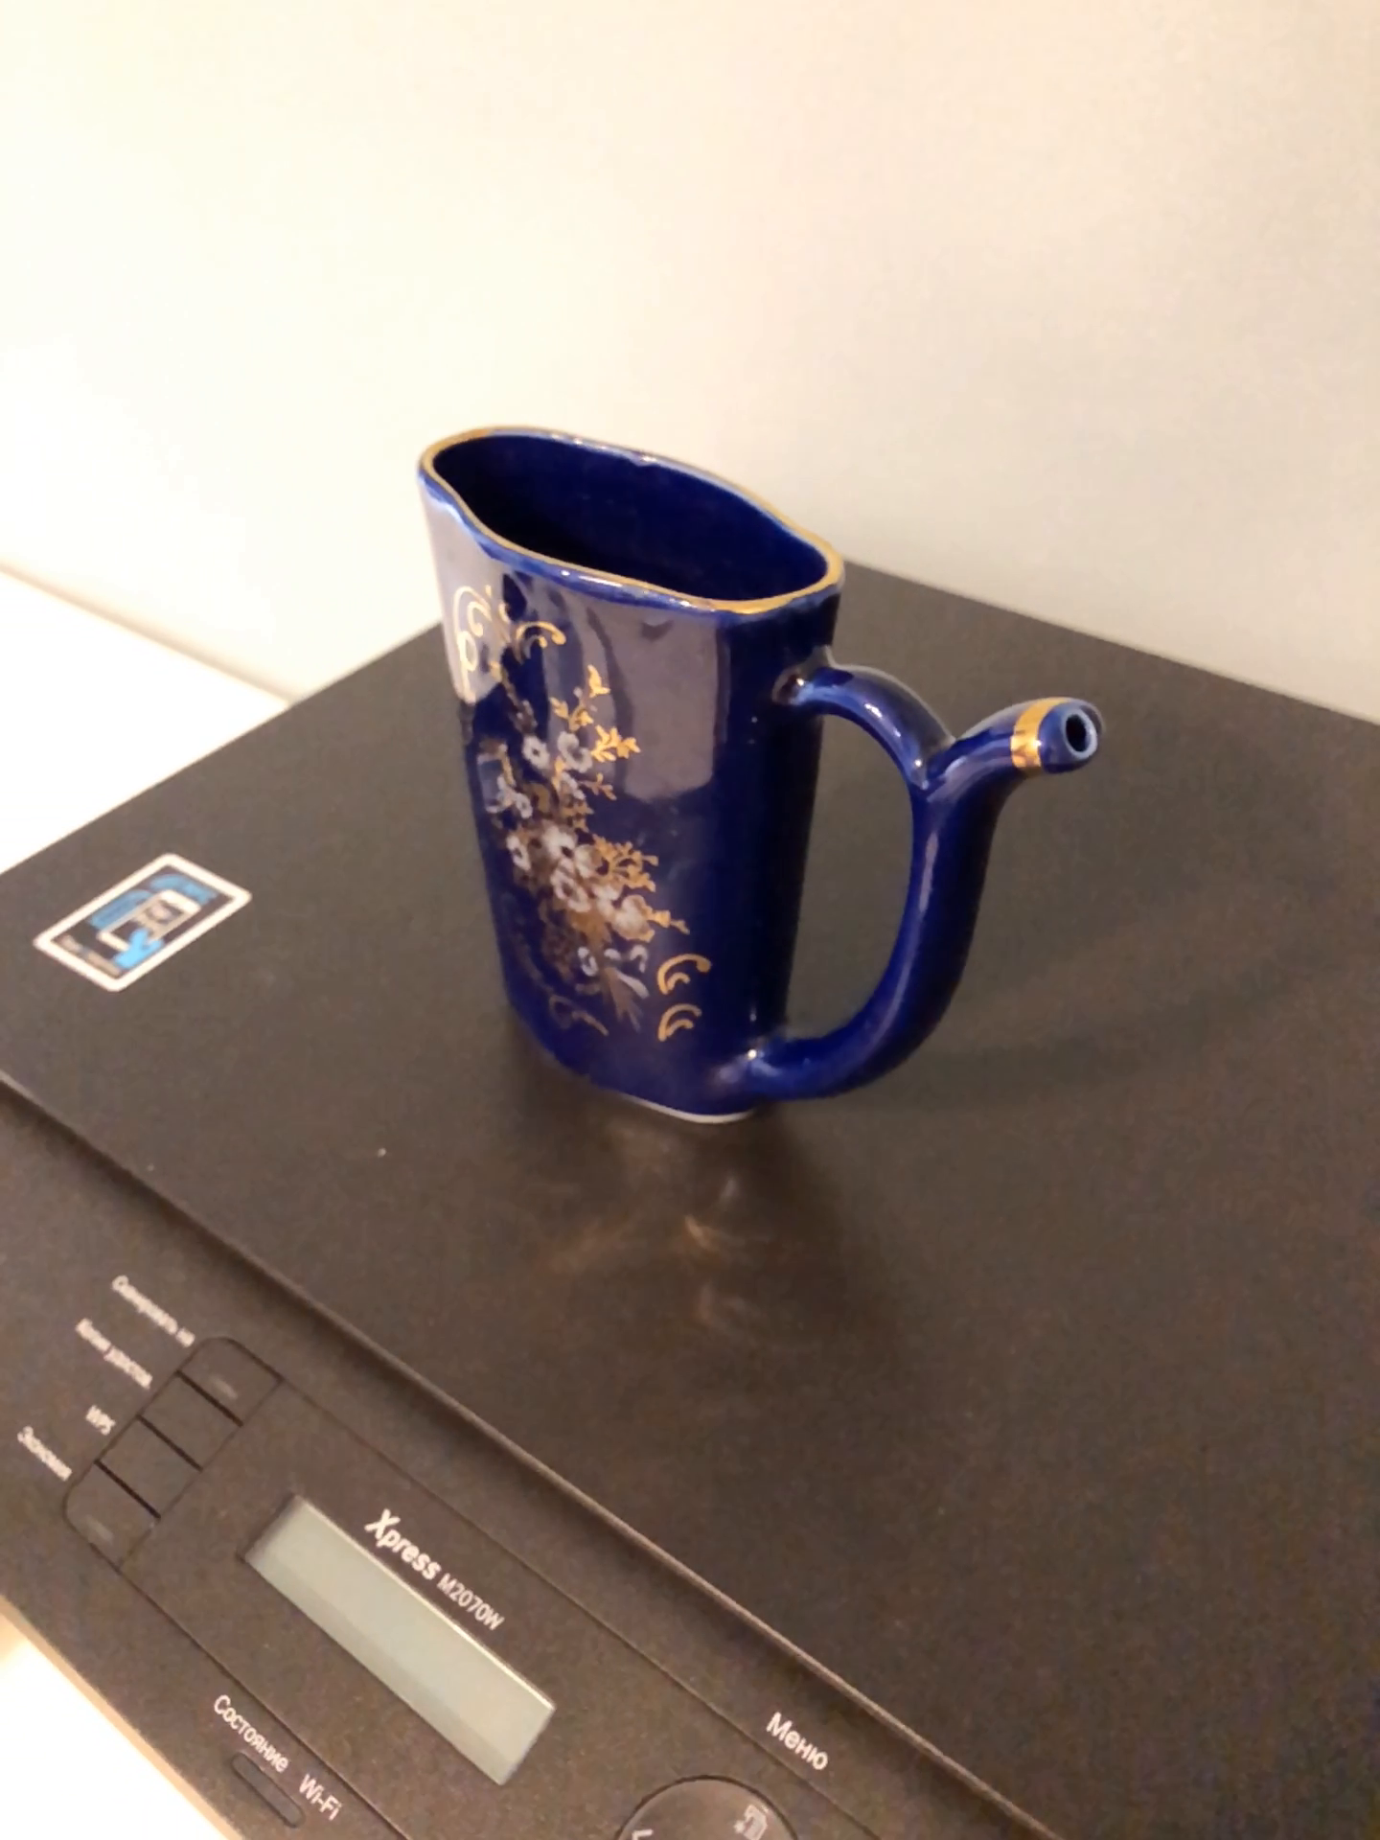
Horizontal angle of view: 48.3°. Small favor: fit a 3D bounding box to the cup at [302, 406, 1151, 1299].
[{"bbox_3d":[0.002,-0.016,0.276,0.130,0.109,0.050,27,48,30],"label":"cup"}]
